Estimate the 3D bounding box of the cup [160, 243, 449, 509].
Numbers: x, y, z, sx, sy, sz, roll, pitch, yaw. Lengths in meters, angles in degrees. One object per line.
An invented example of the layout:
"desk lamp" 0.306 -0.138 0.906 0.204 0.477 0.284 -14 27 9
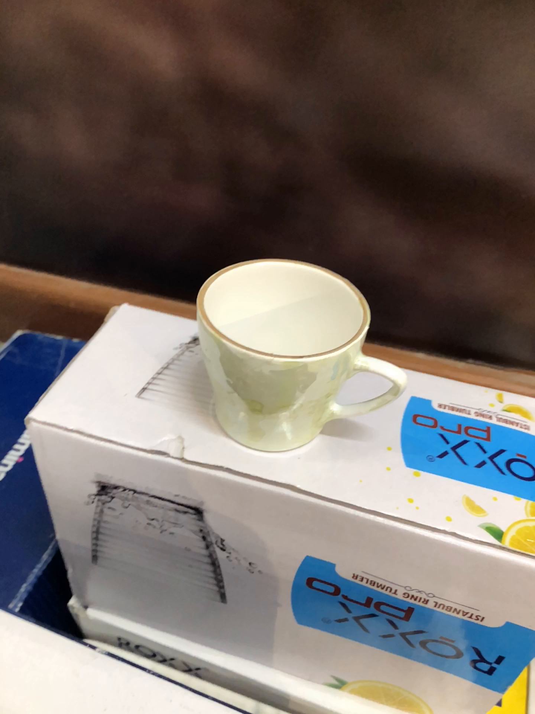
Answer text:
"cup" 0.017 0.005 0.250 0.100 0.060 0.070 12 42 8
